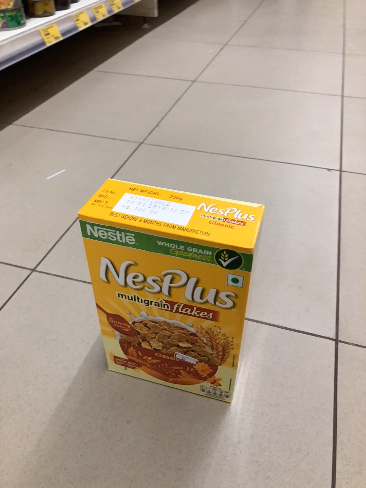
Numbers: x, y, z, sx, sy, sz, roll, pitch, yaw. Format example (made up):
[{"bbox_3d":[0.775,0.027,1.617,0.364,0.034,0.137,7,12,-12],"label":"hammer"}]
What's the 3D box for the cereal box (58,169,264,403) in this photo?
[{"bbox_3d":[-0.014,0.045,0.363,0.140,0.199,0.060,11,41,13],"label":"cereal box"}]
